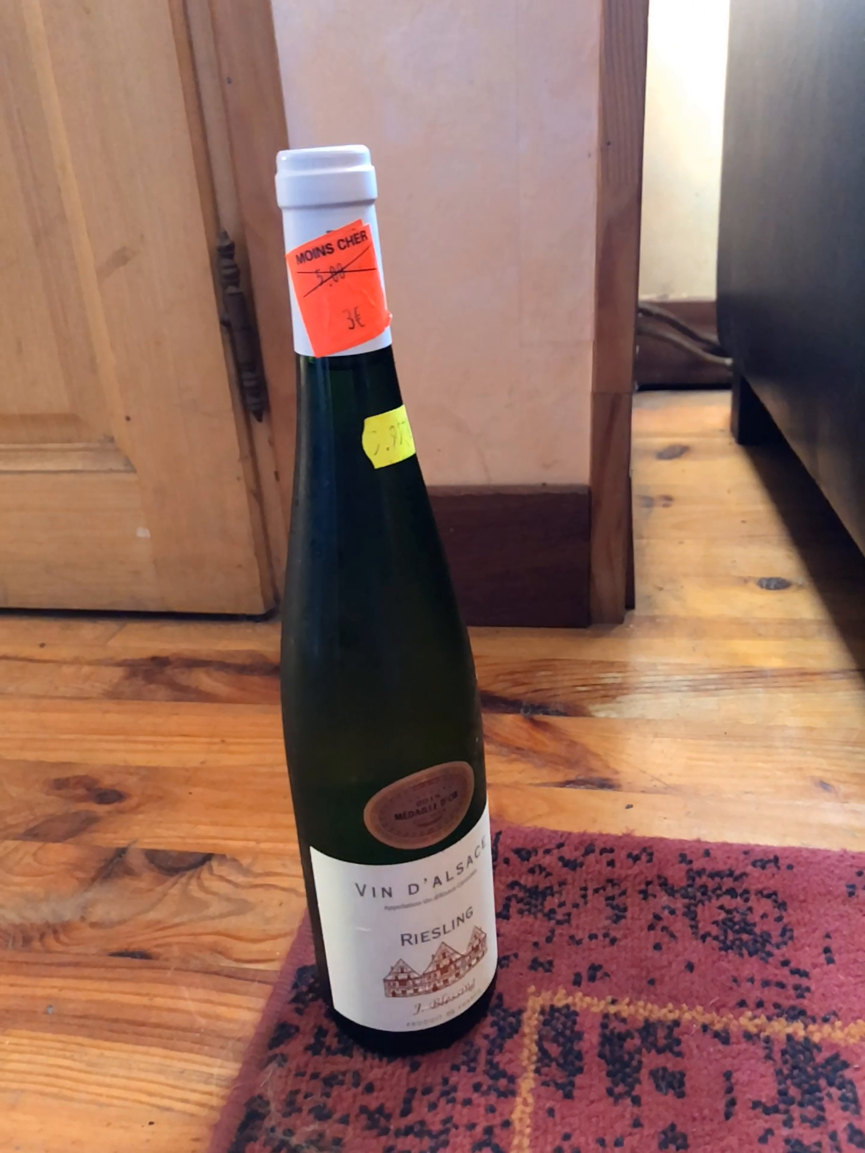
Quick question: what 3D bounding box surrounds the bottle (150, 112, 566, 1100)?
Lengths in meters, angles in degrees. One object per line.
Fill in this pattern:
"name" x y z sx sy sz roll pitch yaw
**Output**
"bottle" -0.013 0.018 0.310 0.080 0.298 0.080 -3 25 1
